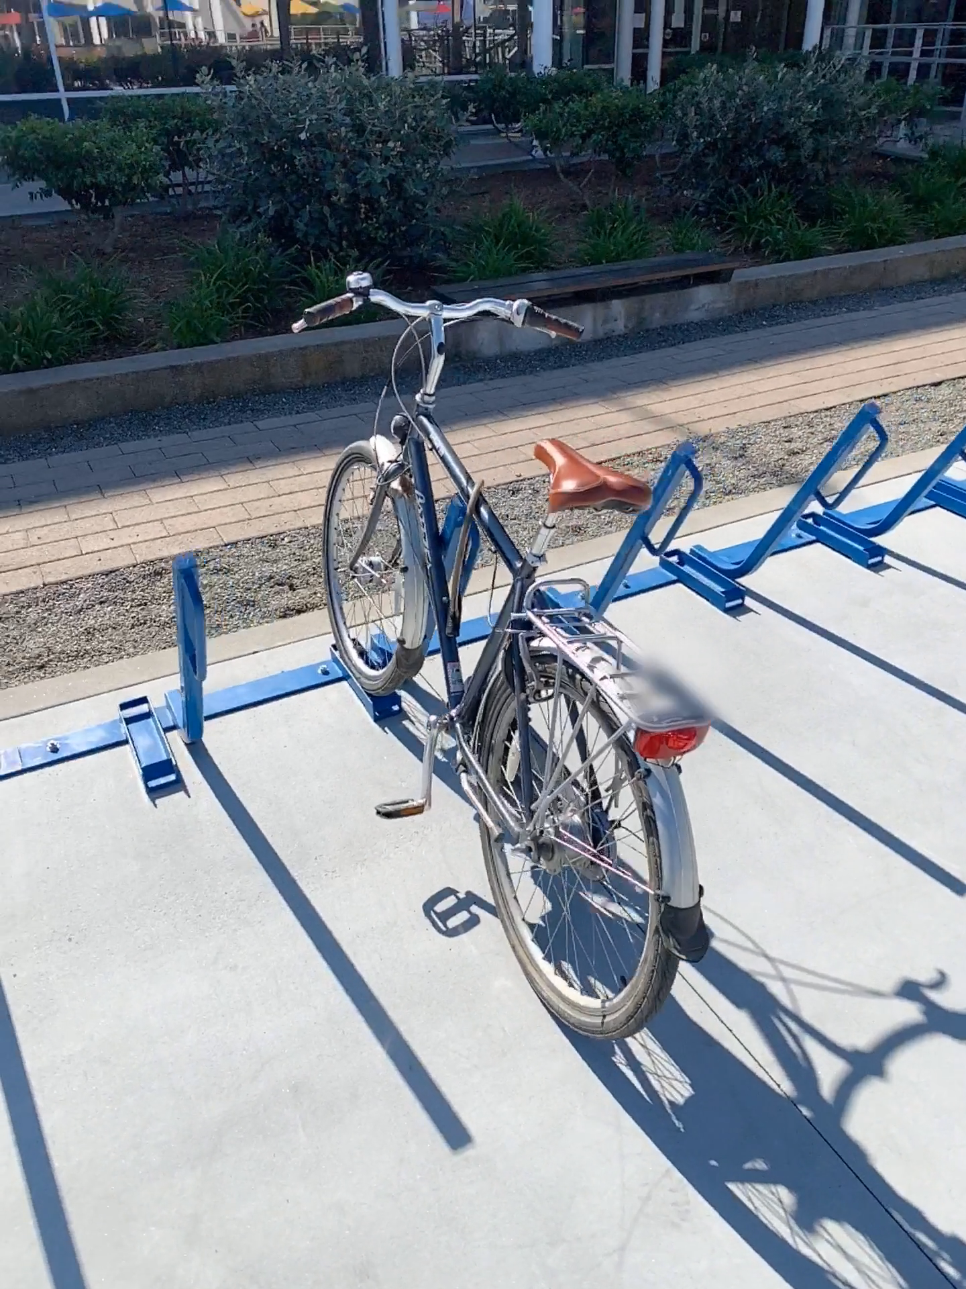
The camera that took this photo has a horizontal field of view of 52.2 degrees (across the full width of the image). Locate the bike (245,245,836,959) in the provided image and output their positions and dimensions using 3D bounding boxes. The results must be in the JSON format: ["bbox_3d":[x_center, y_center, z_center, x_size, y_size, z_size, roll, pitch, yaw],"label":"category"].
[{"bbox_3d":[0.015,-0.178,1.942,0.590,0.915,1.067,-15,35,-19],"label":"bike"}]
